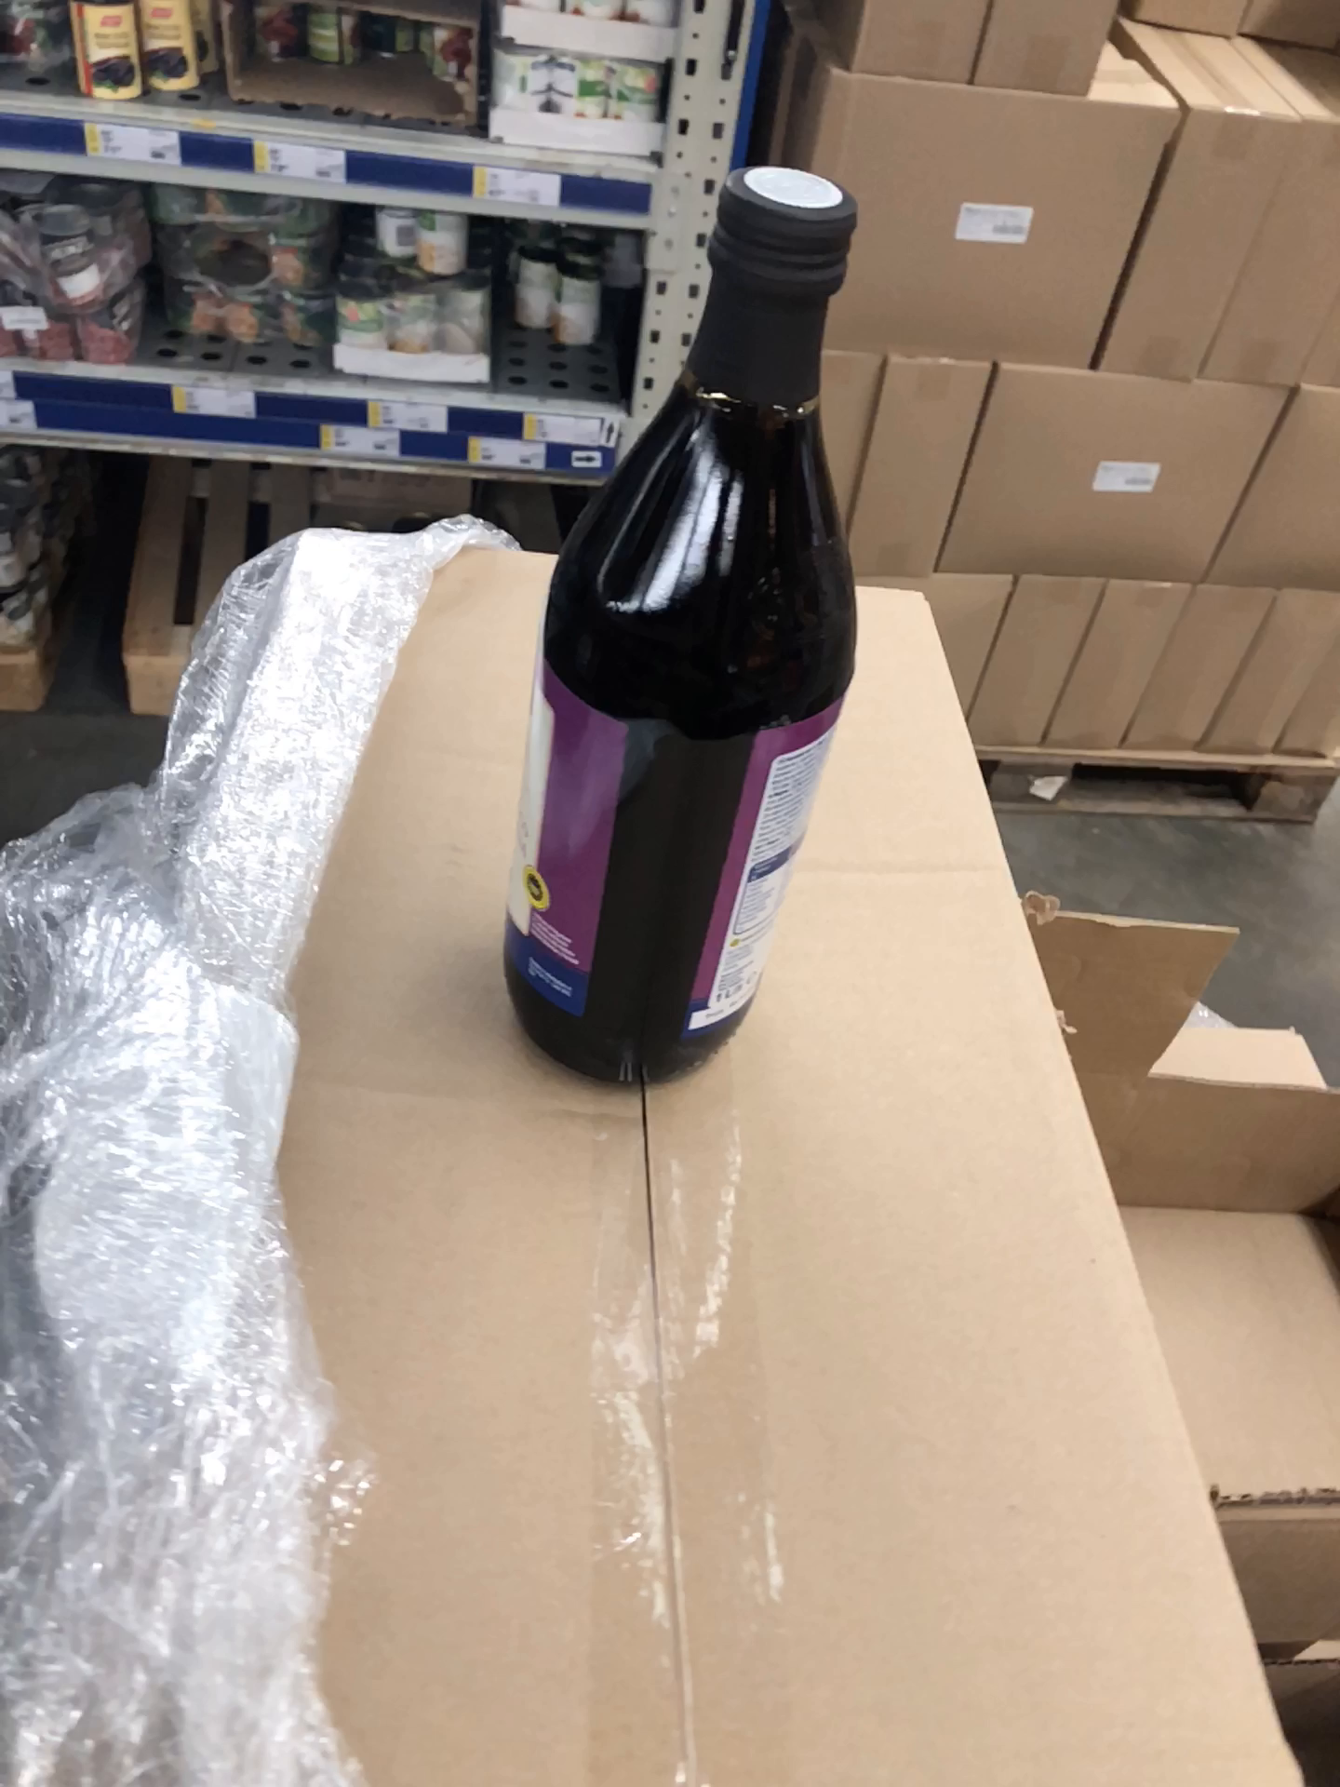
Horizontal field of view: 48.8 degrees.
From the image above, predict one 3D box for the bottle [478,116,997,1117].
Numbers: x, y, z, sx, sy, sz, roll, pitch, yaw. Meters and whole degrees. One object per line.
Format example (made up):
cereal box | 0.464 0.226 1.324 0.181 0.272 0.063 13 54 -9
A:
bottle | 0.001 -0.056 0.408 0.090 0.257 0.091 6 44 -6
